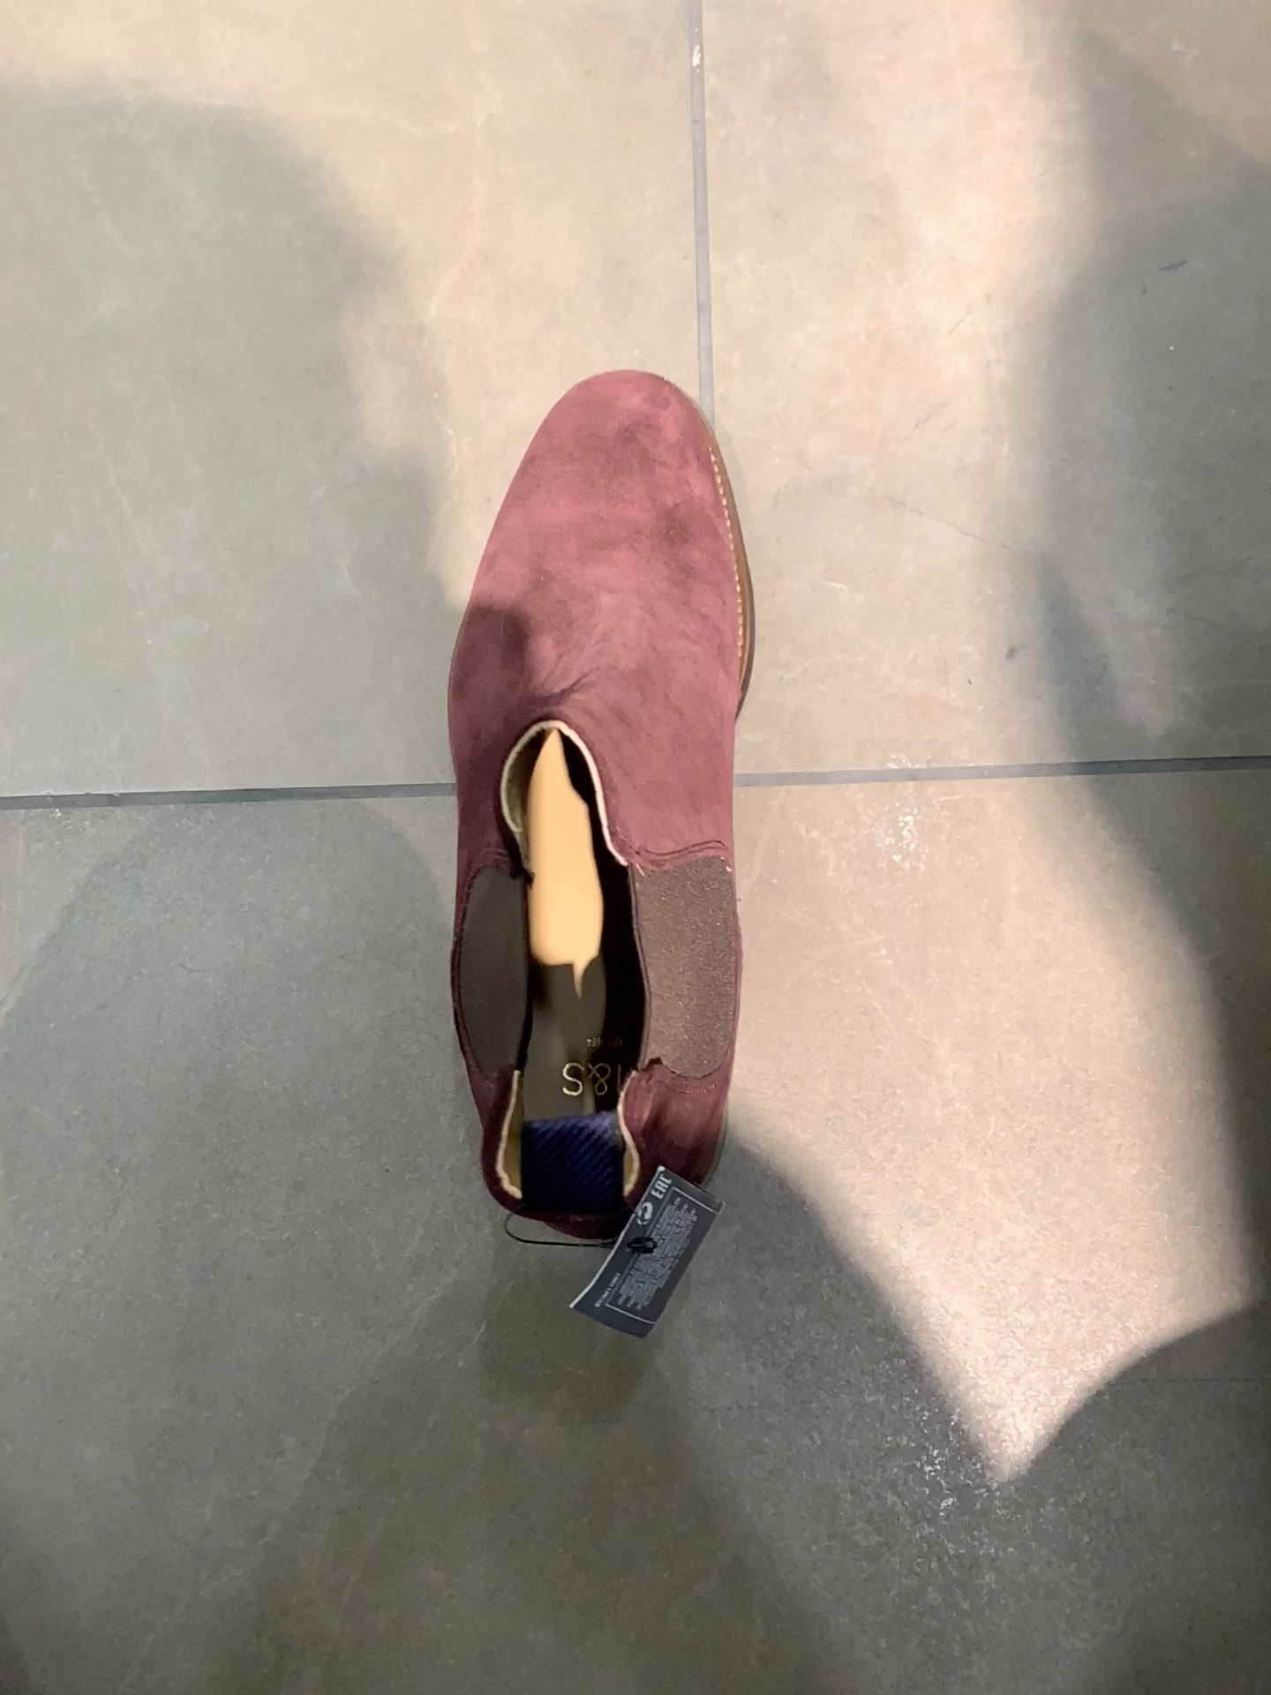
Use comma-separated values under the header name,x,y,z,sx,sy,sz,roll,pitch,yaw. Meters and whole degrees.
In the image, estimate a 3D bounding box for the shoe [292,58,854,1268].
name,x,y,z,sx,sy,sz,roll,pitch,yaw
shoe,-0.014,-0.039,0.381,0.114,0.162,0.298,-4,74,3
